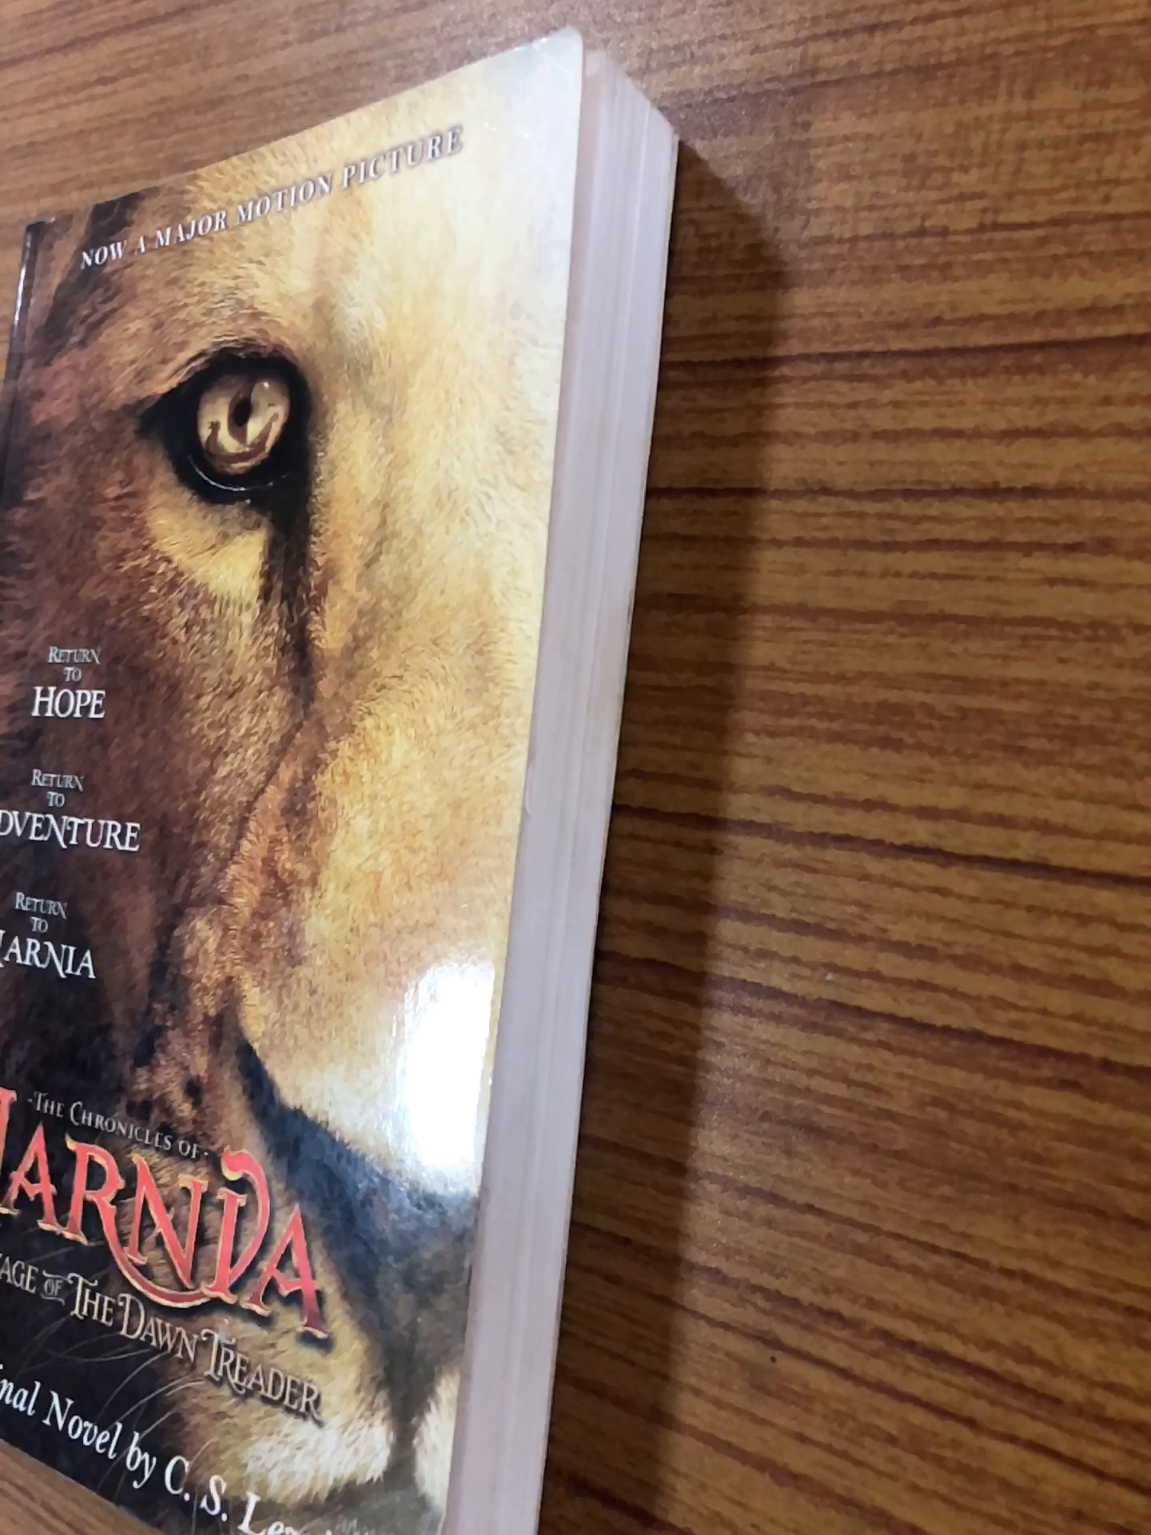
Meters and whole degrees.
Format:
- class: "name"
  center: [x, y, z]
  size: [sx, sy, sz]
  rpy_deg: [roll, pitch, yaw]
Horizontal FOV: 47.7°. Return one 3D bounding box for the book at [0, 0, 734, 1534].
- class: "book"
  center: [-0.047, 0.003, 0.182]
  size: [0.120, 0.030, 0.180]
  rpy_deg: [3, 85, 33]
